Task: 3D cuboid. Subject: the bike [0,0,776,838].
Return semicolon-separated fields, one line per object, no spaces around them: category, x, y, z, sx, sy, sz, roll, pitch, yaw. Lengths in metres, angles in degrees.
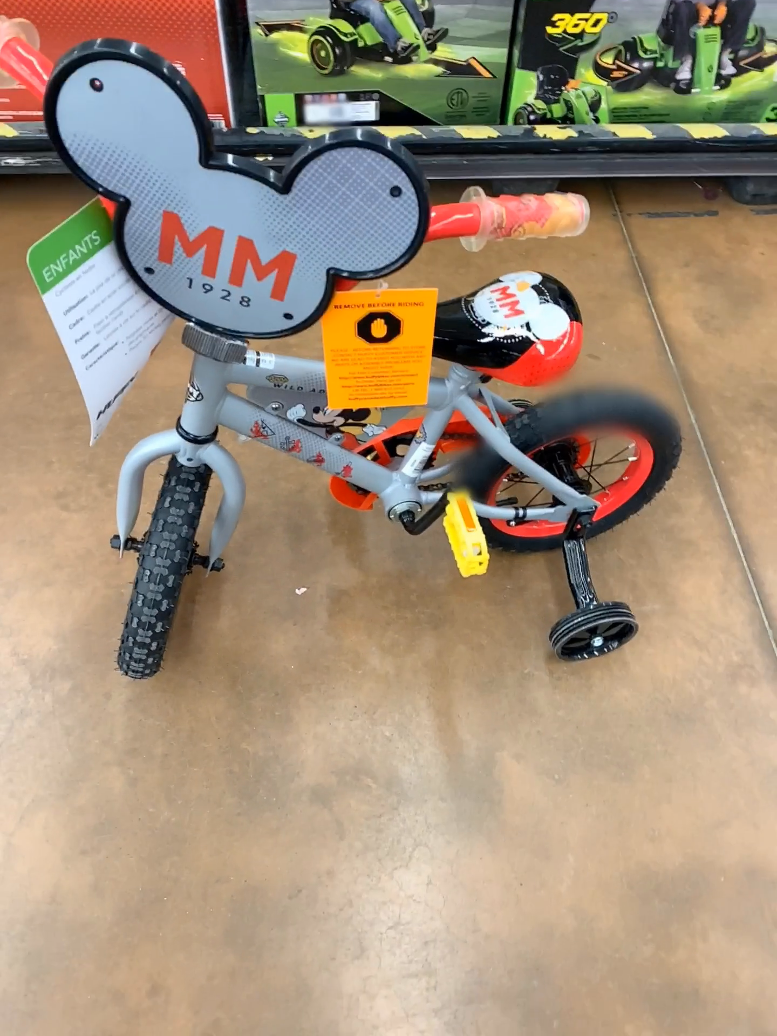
bike;0.015;-0.119;0.807;0.641;0.689;0.453;-17;55;-9
